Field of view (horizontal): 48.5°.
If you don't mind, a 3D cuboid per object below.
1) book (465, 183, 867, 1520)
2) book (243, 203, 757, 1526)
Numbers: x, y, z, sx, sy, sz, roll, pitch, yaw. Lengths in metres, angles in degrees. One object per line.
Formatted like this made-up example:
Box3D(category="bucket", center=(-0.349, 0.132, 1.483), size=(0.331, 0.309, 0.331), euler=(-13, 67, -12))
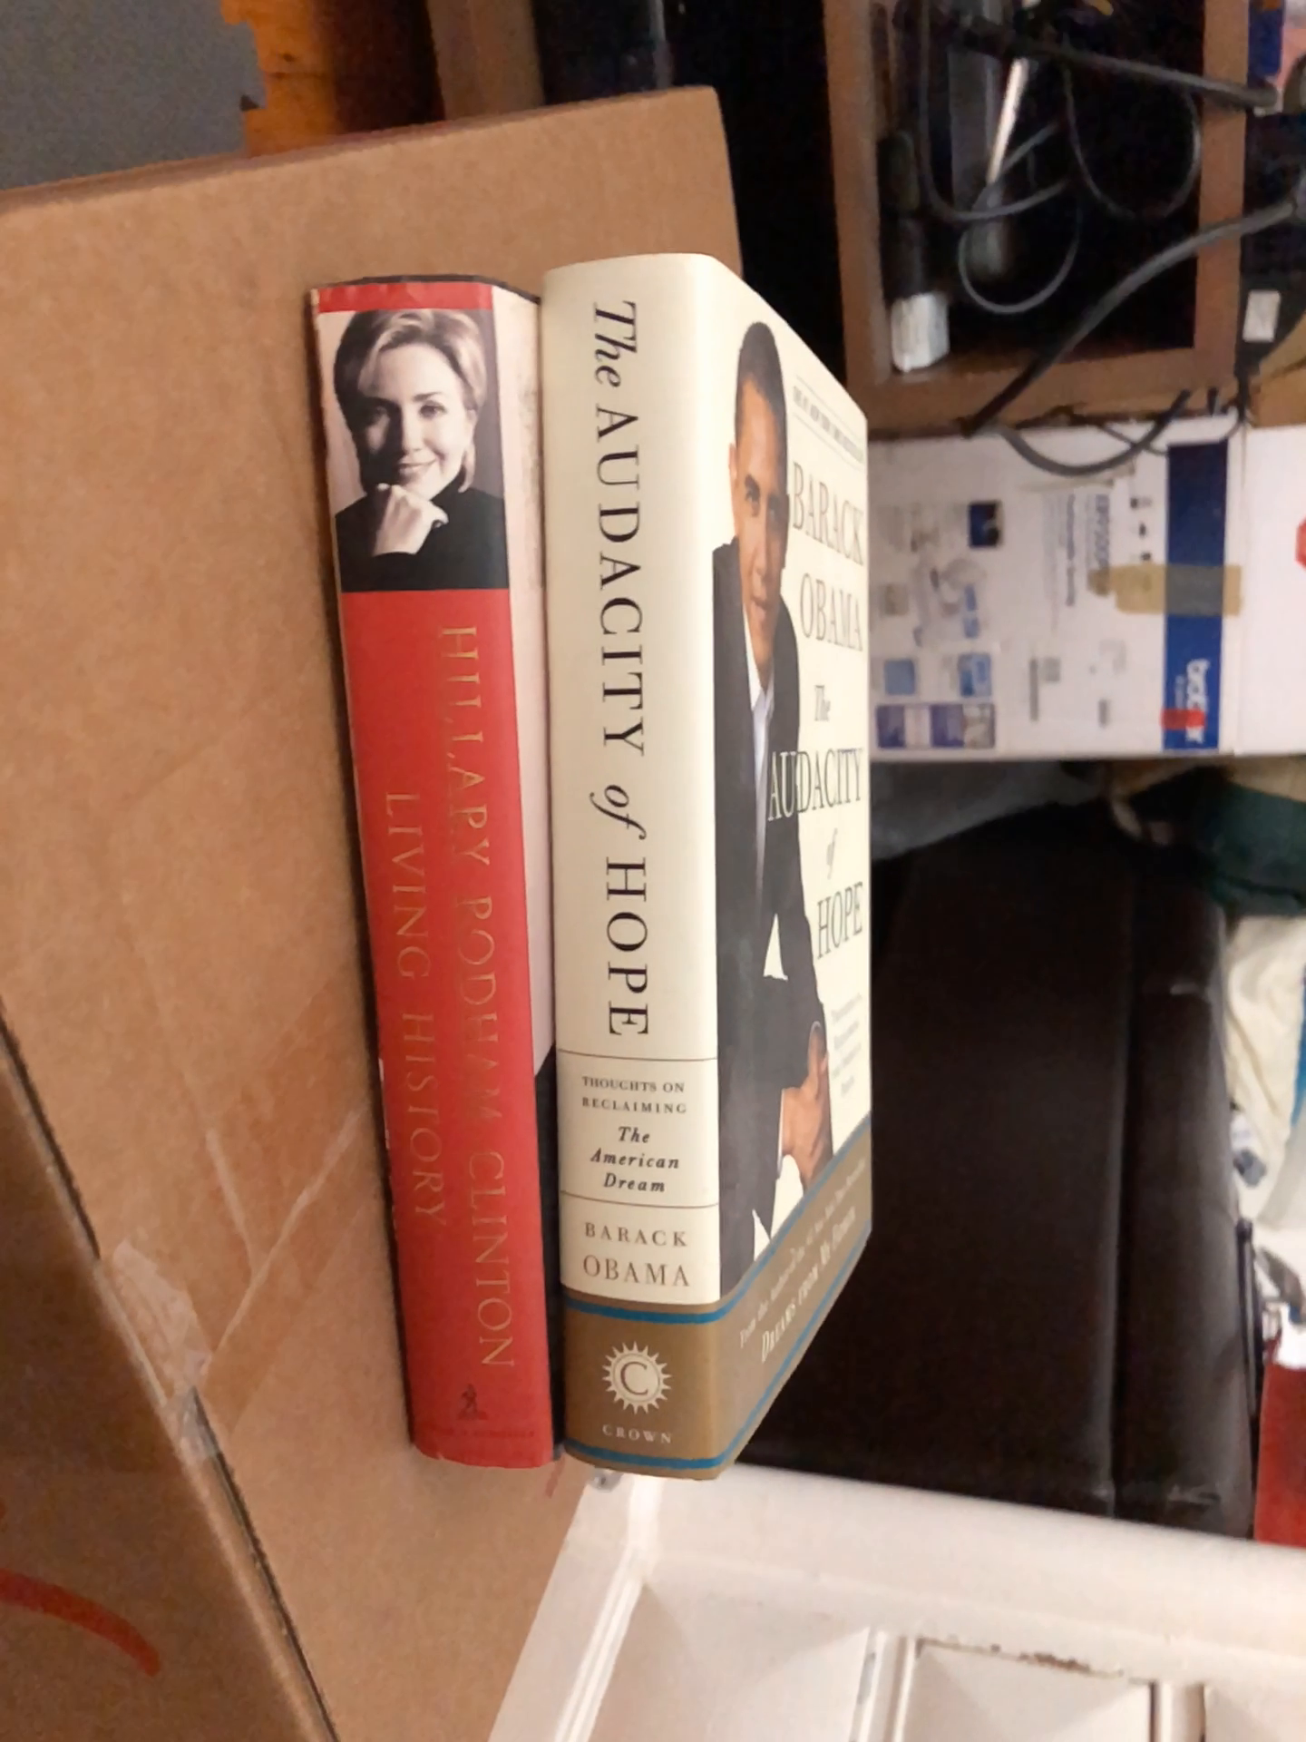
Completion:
Box3D(category="book", center=(0.017, -0.008, 0.366), size=(0.191, 0.040, 0.250), euler=(-17, 107, -71))
Box3D(category="book", center=(-0.020, -0.008, 0.354), size=(0.171, 0.040, 0.250), euler=(-33, 122, -68))
